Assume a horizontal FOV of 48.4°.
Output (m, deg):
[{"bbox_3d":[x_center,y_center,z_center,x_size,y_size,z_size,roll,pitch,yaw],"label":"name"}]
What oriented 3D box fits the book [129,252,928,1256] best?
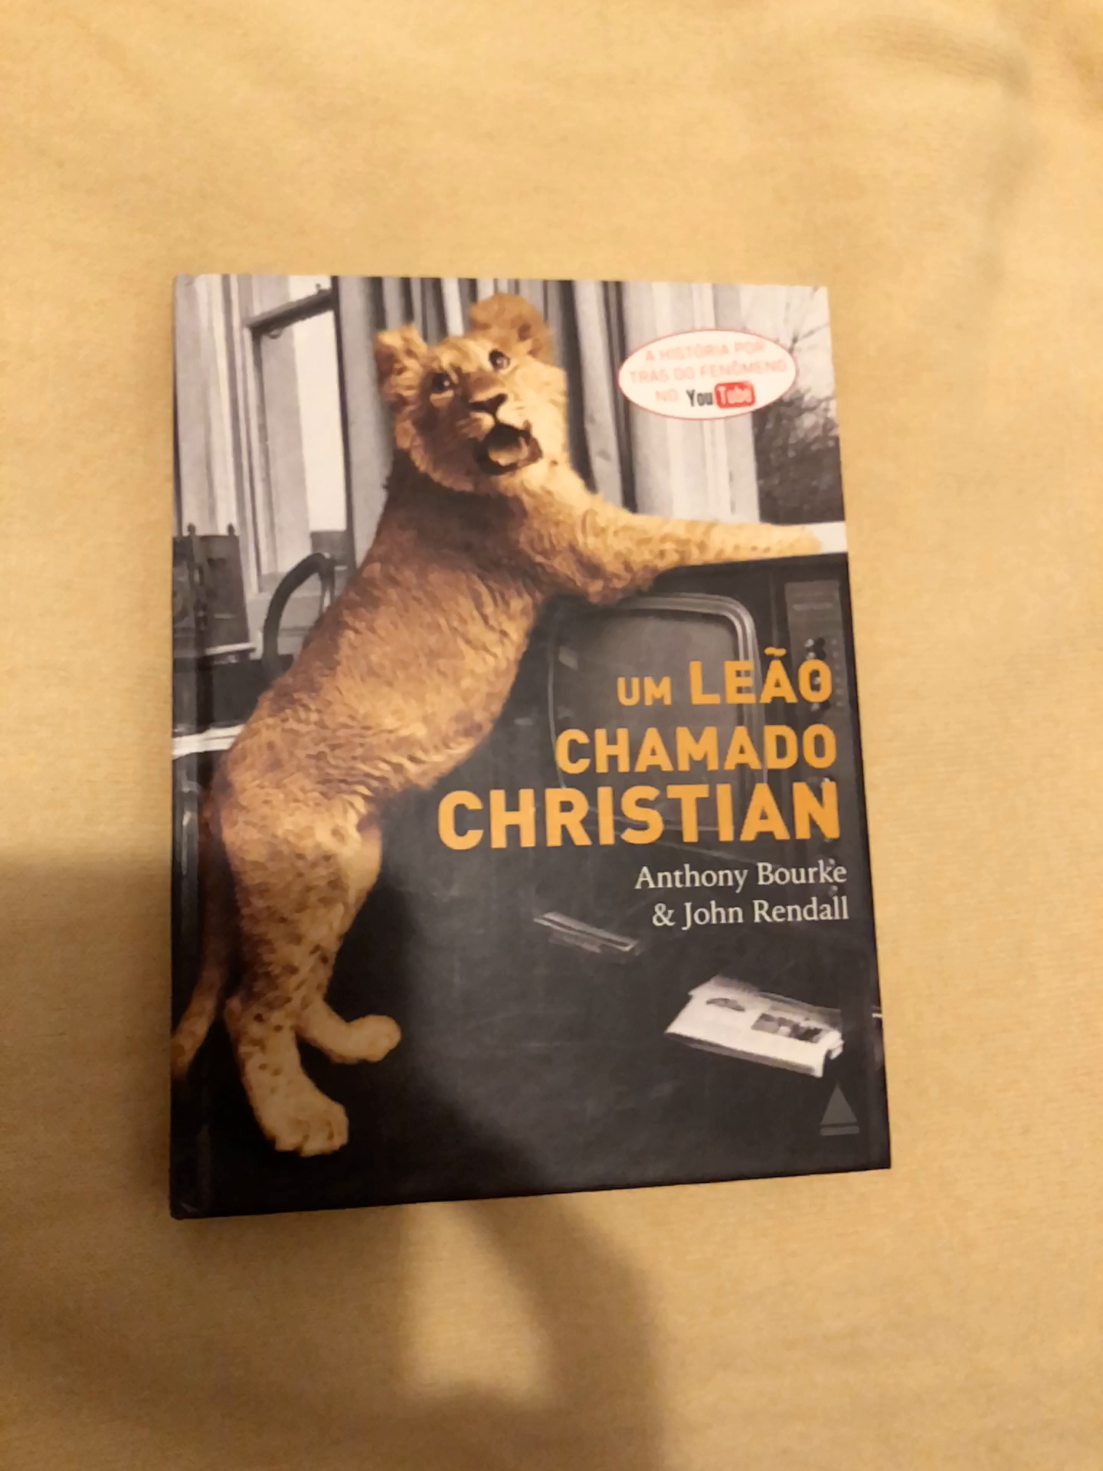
[{"bbox_3d":[-0.009,-0.004,0.263,0.150,0.030,0.200,-2,79,-5],"label":"book"}]
